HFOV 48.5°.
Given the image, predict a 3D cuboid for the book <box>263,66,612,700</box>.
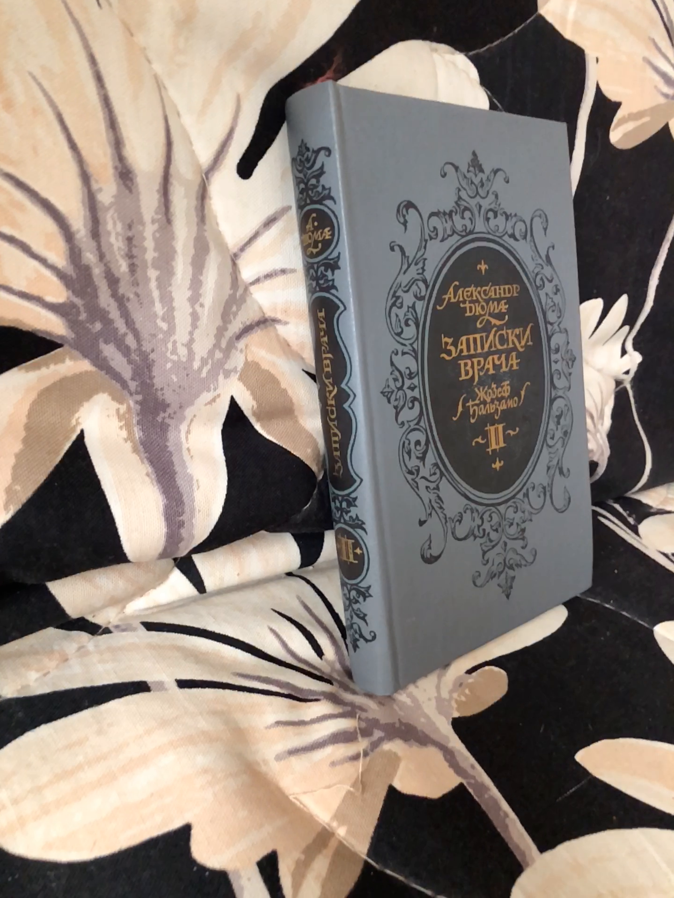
[{"bbox_3d":[0.051,-0.029,0.297,0.141,0.030,0.206,-13,100,-38],"label":"book"}]
